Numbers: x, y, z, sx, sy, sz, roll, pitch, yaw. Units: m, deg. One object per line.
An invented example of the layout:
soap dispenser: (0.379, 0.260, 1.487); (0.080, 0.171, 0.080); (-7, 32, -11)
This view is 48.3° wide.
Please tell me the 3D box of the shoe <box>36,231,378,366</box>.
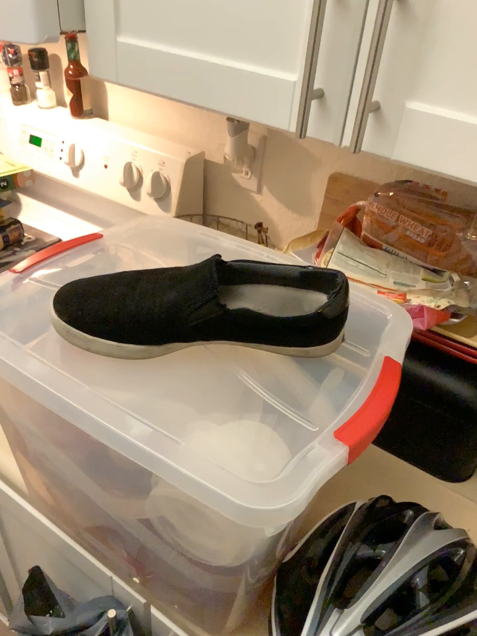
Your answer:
shoe: (-0.026, -0.018, 0.480); (0.270, 0.070, 0.100); (2, 36, -5)
